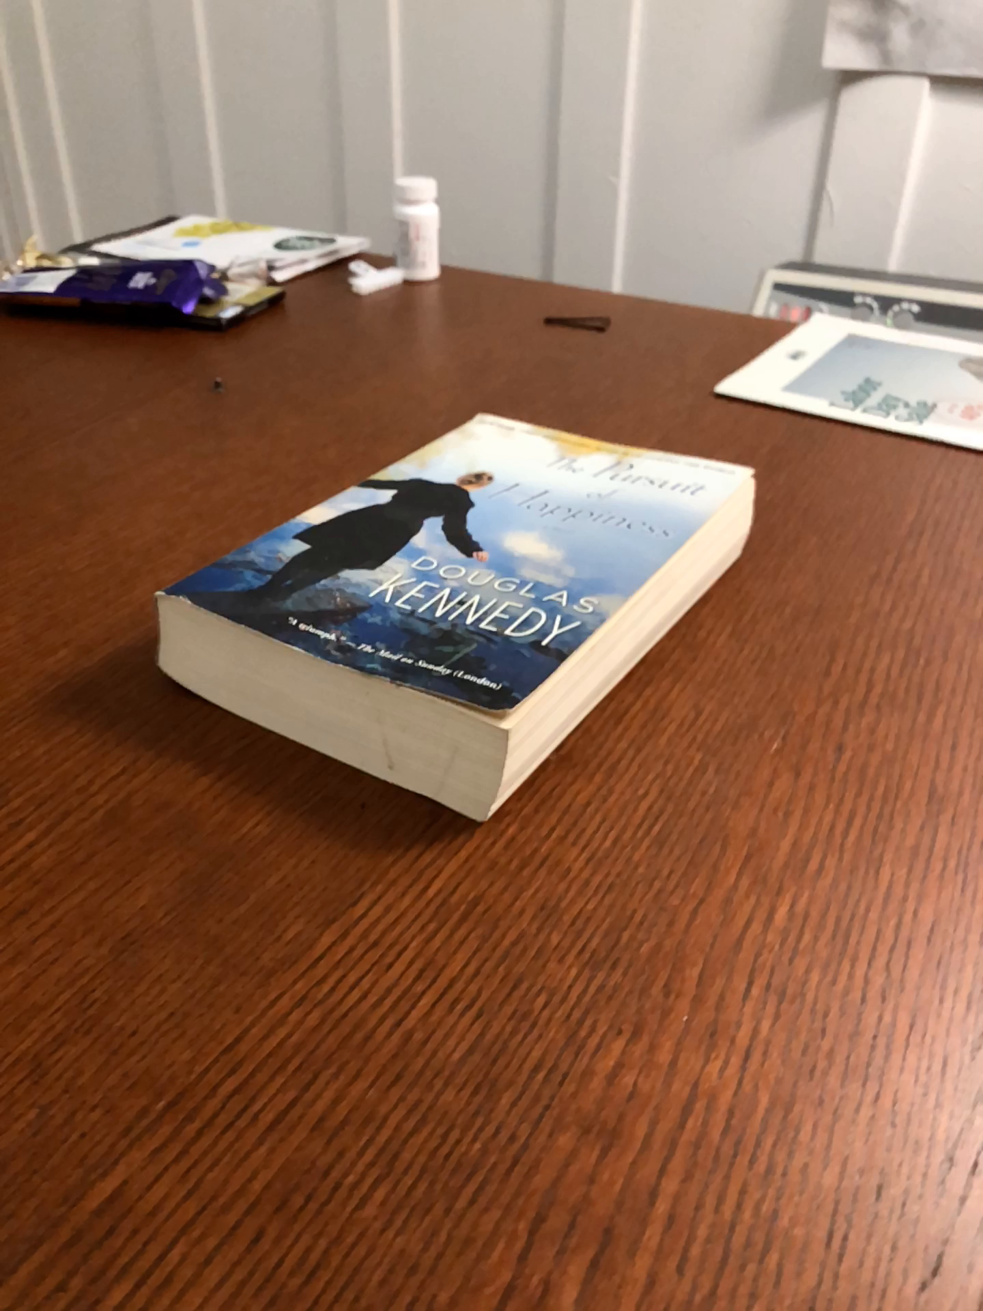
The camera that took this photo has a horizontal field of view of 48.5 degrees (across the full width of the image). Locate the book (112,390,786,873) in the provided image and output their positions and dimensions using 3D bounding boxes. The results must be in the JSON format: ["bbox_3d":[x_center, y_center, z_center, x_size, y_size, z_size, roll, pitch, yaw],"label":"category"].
[{"bbox_3d":[0.000,-0.033,0.442,0.160,0.050,0.241,19,37,25],"label":"book"}]
